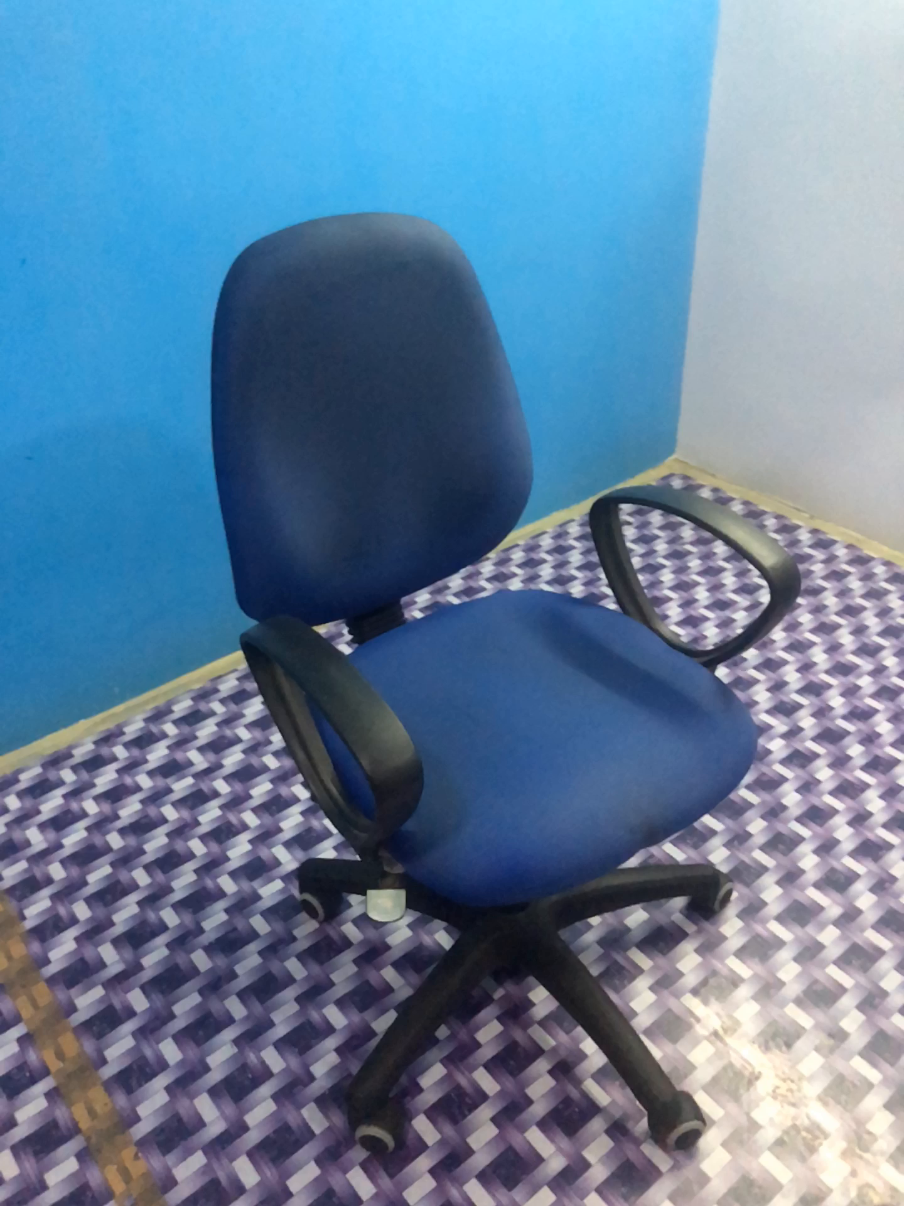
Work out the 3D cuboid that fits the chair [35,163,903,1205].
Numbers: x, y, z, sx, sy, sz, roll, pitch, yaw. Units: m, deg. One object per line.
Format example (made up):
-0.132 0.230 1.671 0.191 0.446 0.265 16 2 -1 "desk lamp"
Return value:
0.090 0.083 1.116 0.702 0.915 0.691 -20 37 -28 "chair"
